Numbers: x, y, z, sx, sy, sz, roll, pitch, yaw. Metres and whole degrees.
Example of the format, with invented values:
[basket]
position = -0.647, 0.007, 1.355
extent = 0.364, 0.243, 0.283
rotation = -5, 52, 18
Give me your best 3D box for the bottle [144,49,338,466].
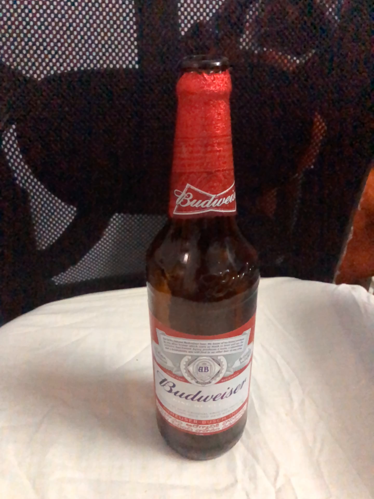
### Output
[bottle]
position = 0.017, 0.026, 0.275
extent = 0.080, 0.278, 0.070
rotation = -2, 33, -6
